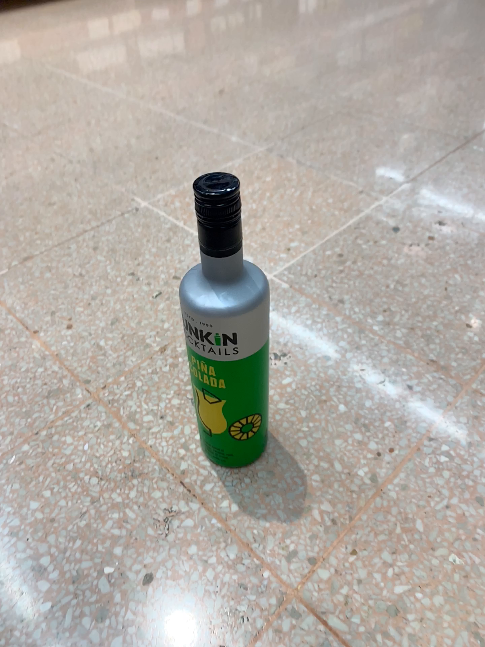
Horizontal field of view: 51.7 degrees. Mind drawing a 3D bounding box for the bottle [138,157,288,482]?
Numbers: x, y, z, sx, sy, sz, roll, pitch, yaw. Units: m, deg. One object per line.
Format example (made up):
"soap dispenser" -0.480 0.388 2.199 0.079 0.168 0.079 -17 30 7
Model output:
"bottle" -0.015 0.016 0.427 0.074 0.284 0.067 31 52 31
